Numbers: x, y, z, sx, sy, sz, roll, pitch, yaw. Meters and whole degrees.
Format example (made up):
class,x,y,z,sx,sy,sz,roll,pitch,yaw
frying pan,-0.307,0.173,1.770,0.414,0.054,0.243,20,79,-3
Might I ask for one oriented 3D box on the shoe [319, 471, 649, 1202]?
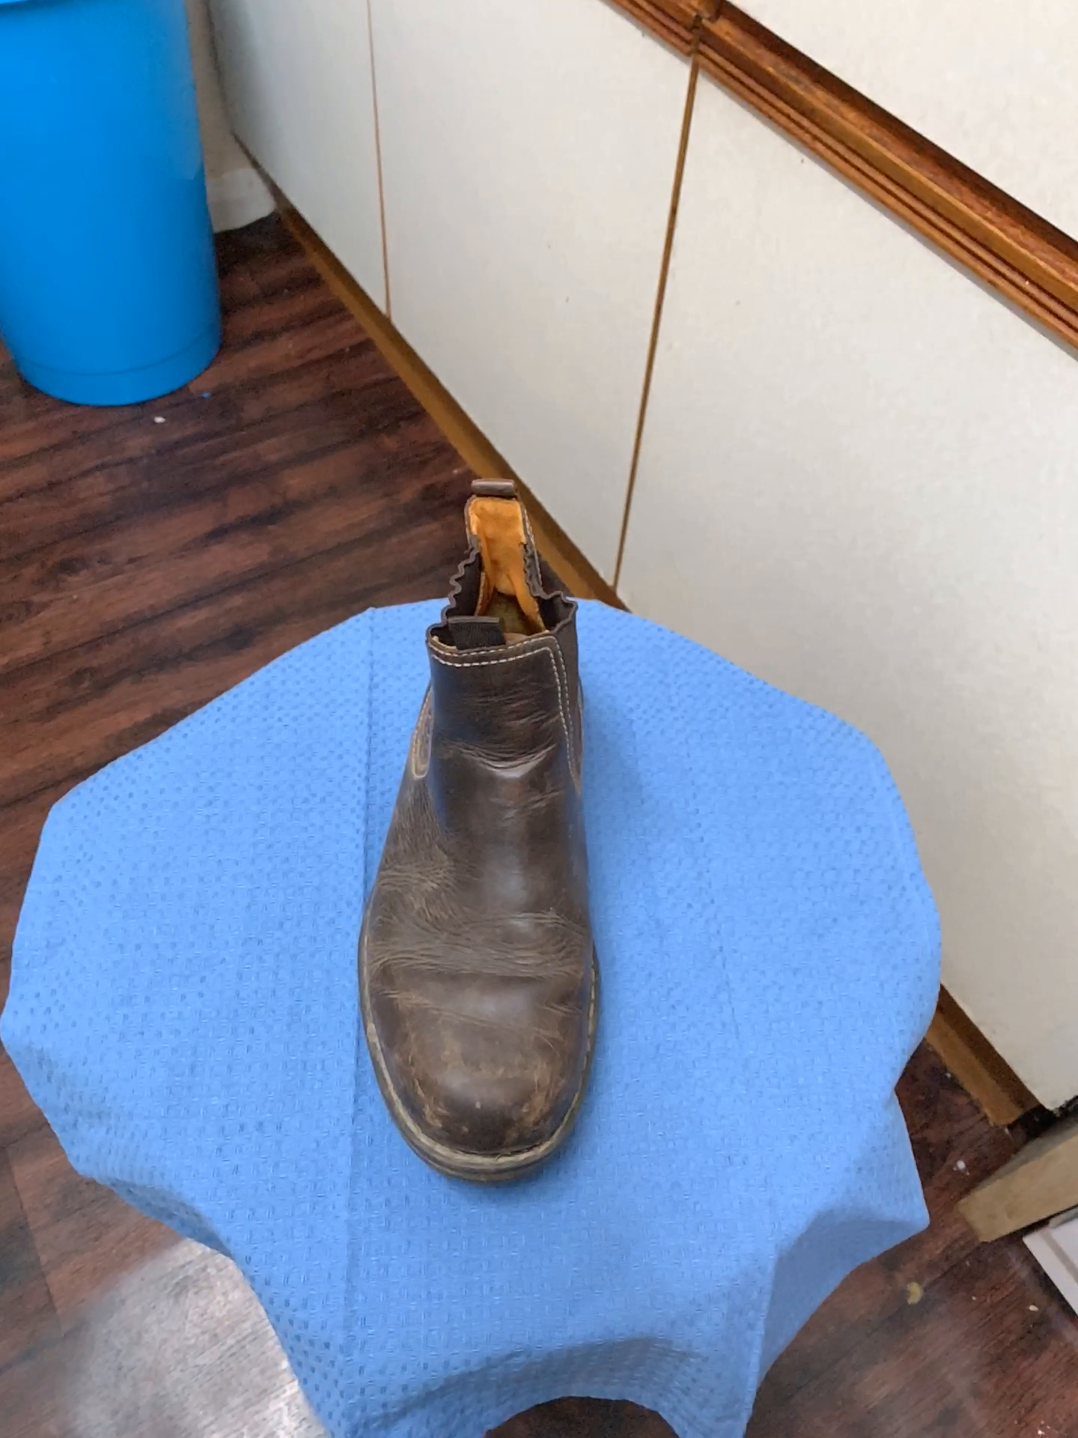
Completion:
class,x,y,z,sx,sy,sz,roll,pitch,yaw
shoe,-0.014,0.048,0.498,0.105,0.156,0.280,5,55,-1
